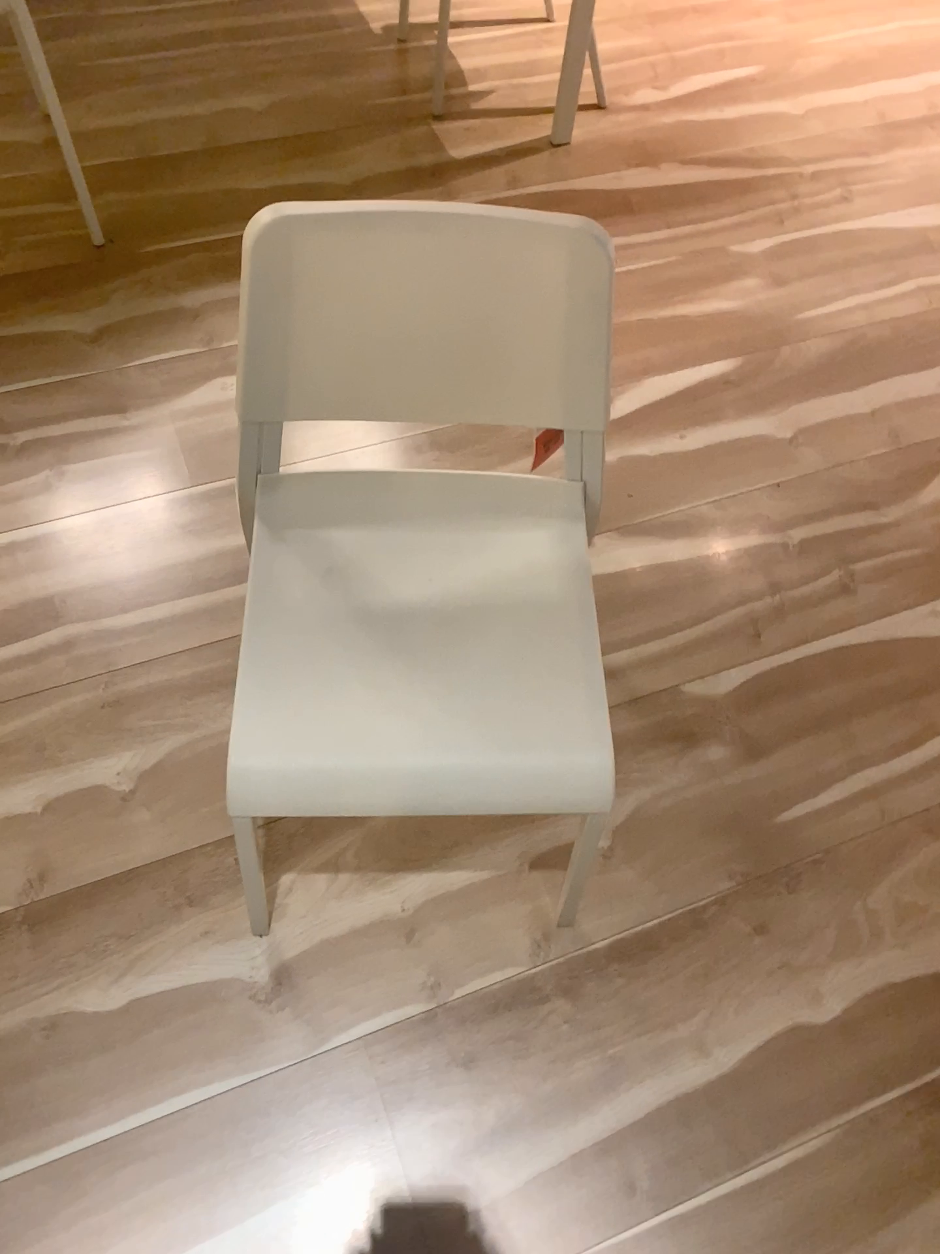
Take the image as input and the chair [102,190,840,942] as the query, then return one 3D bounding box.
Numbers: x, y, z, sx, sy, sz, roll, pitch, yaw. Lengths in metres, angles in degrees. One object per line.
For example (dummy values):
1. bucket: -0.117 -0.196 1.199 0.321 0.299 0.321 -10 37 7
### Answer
1. chair: -0.032 -0.008 1.114 0.520 0.709 0.551 0 59 -5
